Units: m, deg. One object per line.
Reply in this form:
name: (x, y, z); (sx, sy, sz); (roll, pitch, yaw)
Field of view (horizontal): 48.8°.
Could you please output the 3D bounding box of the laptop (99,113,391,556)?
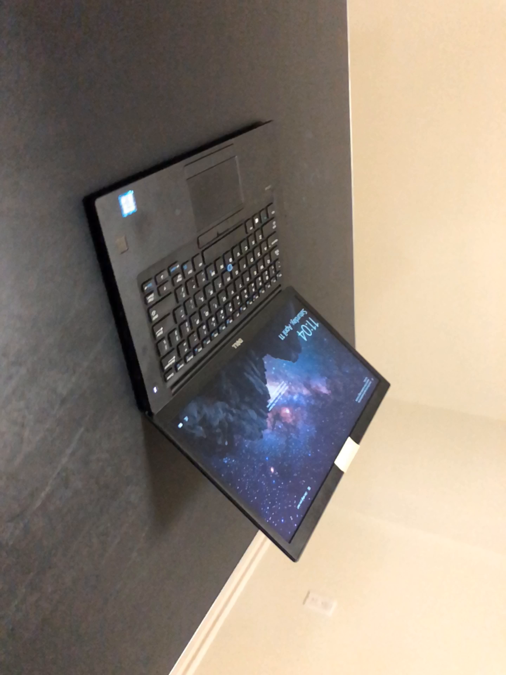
laptop: (0.033, -0.024, 0.623); (0.321, 0.140, 0.368); (-46, 138, -48)
